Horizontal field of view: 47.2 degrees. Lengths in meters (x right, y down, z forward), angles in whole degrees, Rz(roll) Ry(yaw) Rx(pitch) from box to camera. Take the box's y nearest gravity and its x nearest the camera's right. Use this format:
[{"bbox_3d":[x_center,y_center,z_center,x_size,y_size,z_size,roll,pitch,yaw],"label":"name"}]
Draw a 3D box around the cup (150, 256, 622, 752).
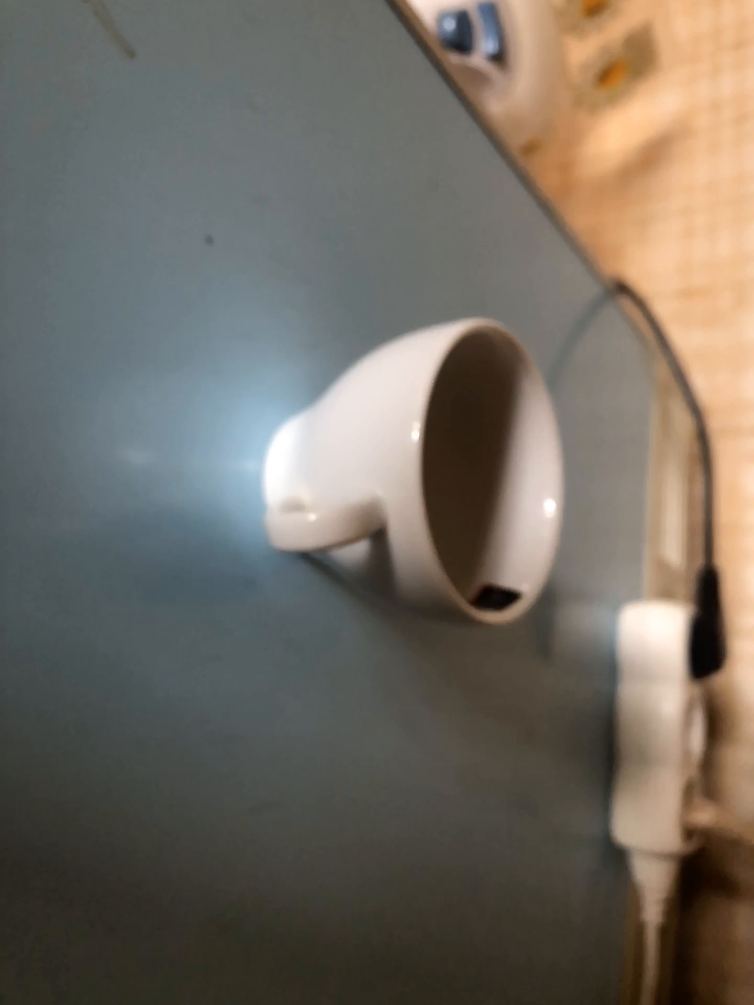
[{"bbox_3d":[0.013,-0.006,0.242,0.111,0.065,0.088,-43,122,-48],"label":"cup"}]
